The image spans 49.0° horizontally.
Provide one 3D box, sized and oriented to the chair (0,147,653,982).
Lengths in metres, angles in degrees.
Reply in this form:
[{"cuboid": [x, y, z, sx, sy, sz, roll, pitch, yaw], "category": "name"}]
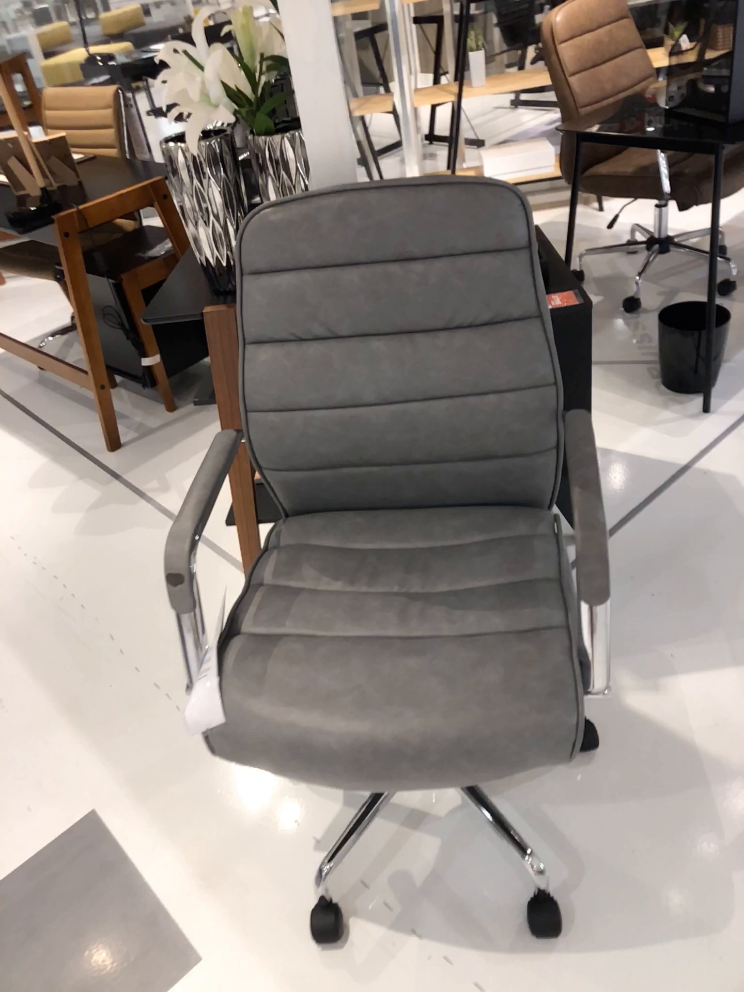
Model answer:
[{"cuboid": [0.030, 0.135, 1.157, 0.600, 0.992, 0.554, -2, 36, 13], "category": "chair"}]
